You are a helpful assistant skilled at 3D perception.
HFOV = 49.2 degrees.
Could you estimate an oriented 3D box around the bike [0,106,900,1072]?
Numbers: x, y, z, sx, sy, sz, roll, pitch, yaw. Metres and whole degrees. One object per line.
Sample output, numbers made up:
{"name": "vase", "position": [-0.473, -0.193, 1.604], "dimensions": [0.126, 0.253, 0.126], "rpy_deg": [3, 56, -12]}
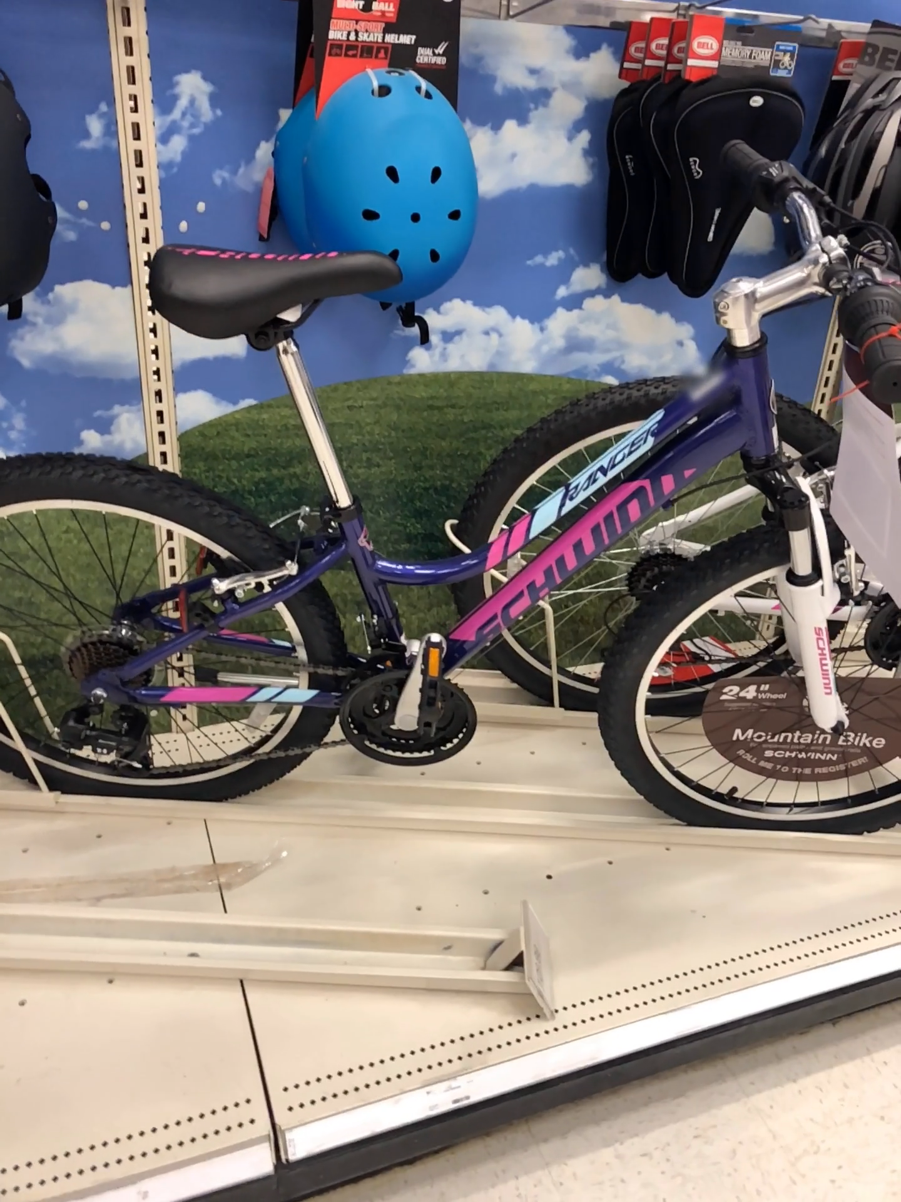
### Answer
{"name": "bike", "position": [0.180, -0.075, 1.095], "dimensions": [1.222, 0.798, 0.571], "rpy_deg": [5, 27, 5]}
